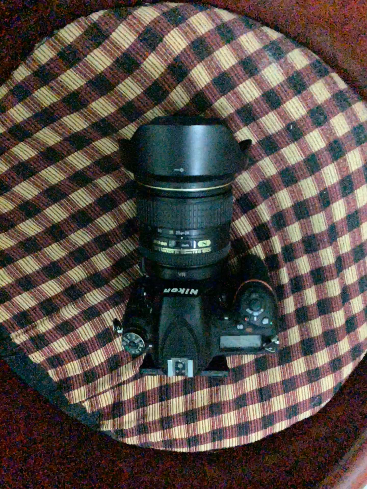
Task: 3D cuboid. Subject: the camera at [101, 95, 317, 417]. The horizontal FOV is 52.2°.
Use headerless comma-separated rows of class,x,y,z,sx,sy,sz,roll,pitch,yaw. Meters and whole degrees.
camera,0.017,0.008,0.329,0.140,0.101,0.250,2,107,4
